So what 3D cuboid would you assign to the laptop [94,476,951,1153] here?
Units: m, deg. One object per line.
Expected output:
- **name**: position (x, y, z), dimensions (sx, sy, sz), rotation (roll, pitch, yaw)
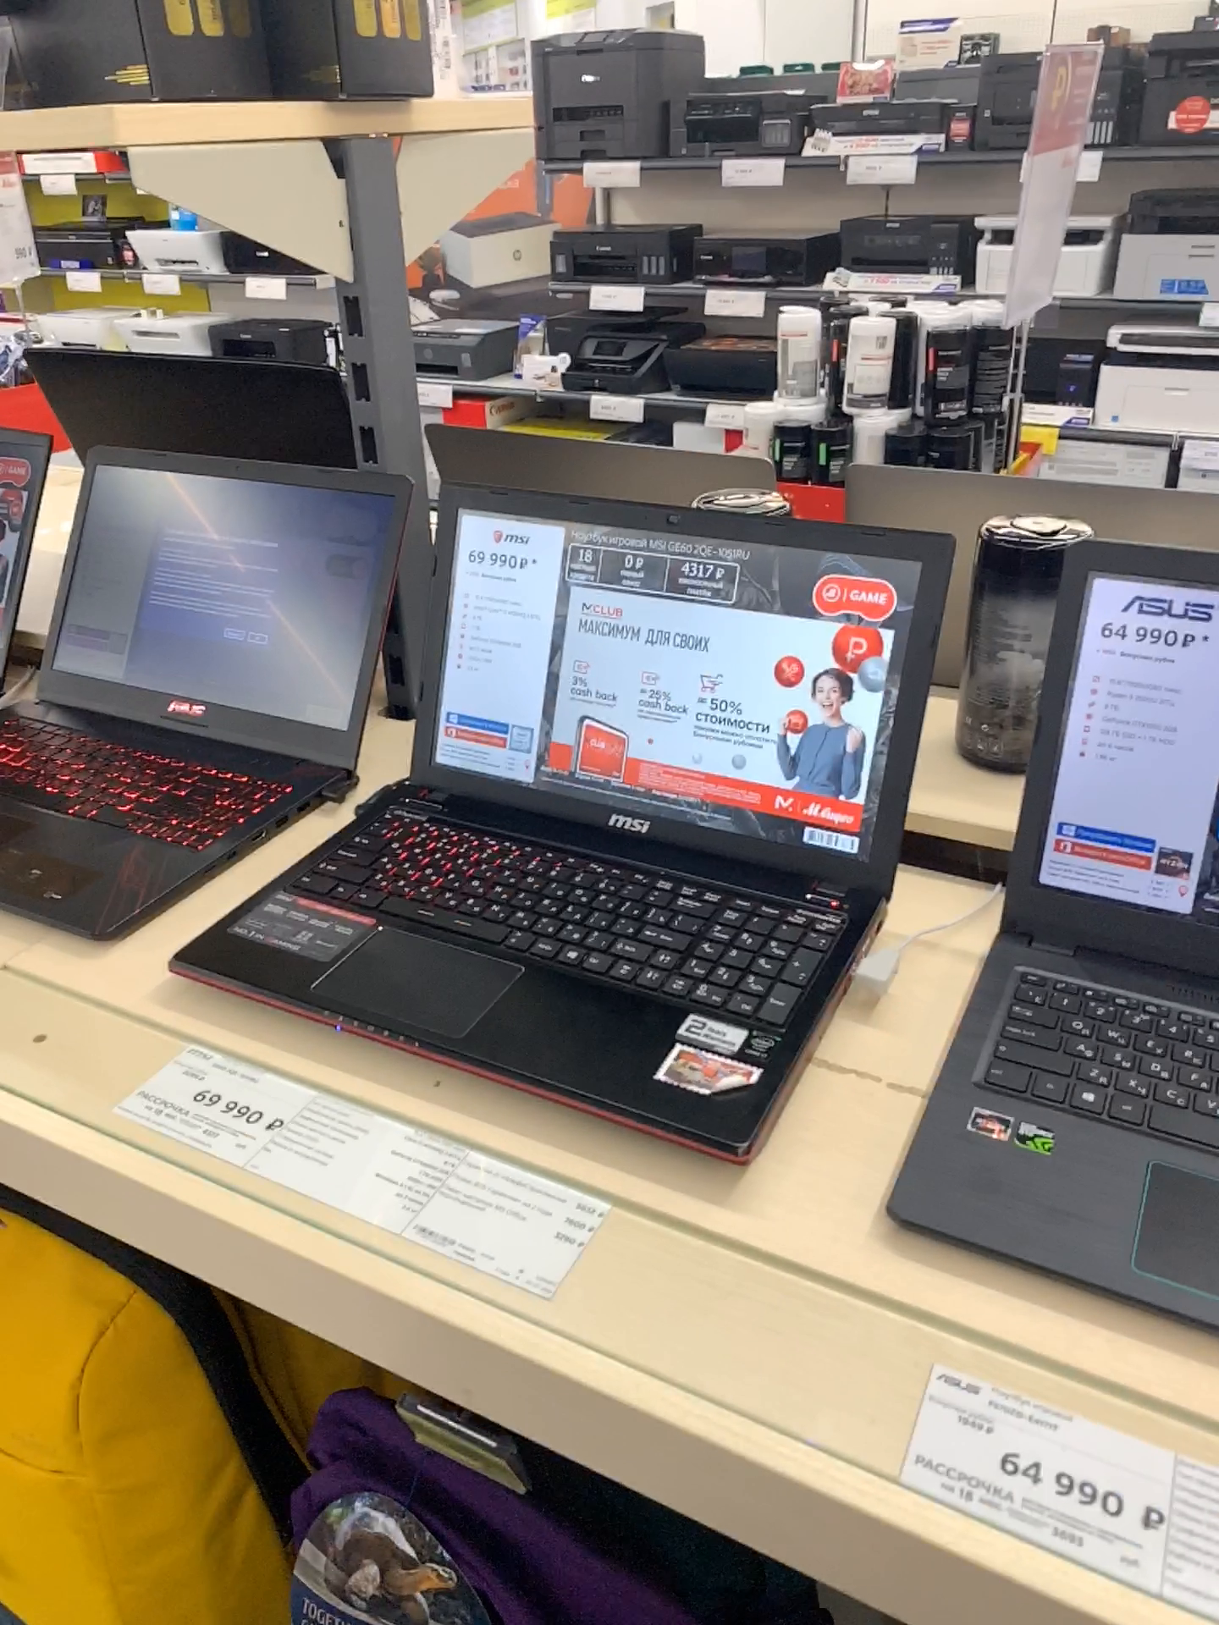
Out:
- **laptop**: position (-0.028, -0.039, 0.719), dimensions (0.356, 0.197, 0.313), rotation (13, 32, 24)
